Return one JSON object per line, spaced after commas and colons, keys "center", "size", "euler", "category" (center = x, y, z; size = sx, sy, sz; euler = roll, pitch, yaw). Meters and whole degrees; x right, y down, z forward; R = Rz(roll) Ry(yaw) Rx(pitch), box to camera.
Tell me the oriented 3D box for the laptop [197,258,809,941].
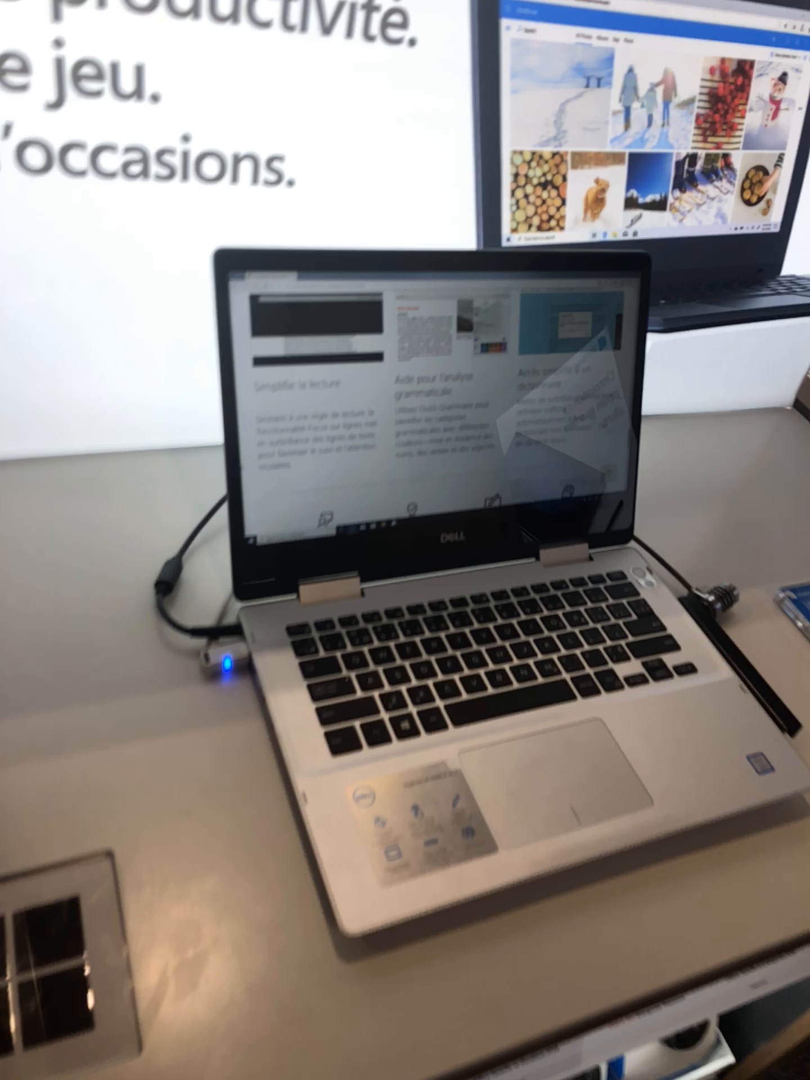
{"center": [0.070, -0.005, 0.545], "size": [0.317, 0.193, 0.338], "euler": [-8, 46, -23], "category": "laptop"}
